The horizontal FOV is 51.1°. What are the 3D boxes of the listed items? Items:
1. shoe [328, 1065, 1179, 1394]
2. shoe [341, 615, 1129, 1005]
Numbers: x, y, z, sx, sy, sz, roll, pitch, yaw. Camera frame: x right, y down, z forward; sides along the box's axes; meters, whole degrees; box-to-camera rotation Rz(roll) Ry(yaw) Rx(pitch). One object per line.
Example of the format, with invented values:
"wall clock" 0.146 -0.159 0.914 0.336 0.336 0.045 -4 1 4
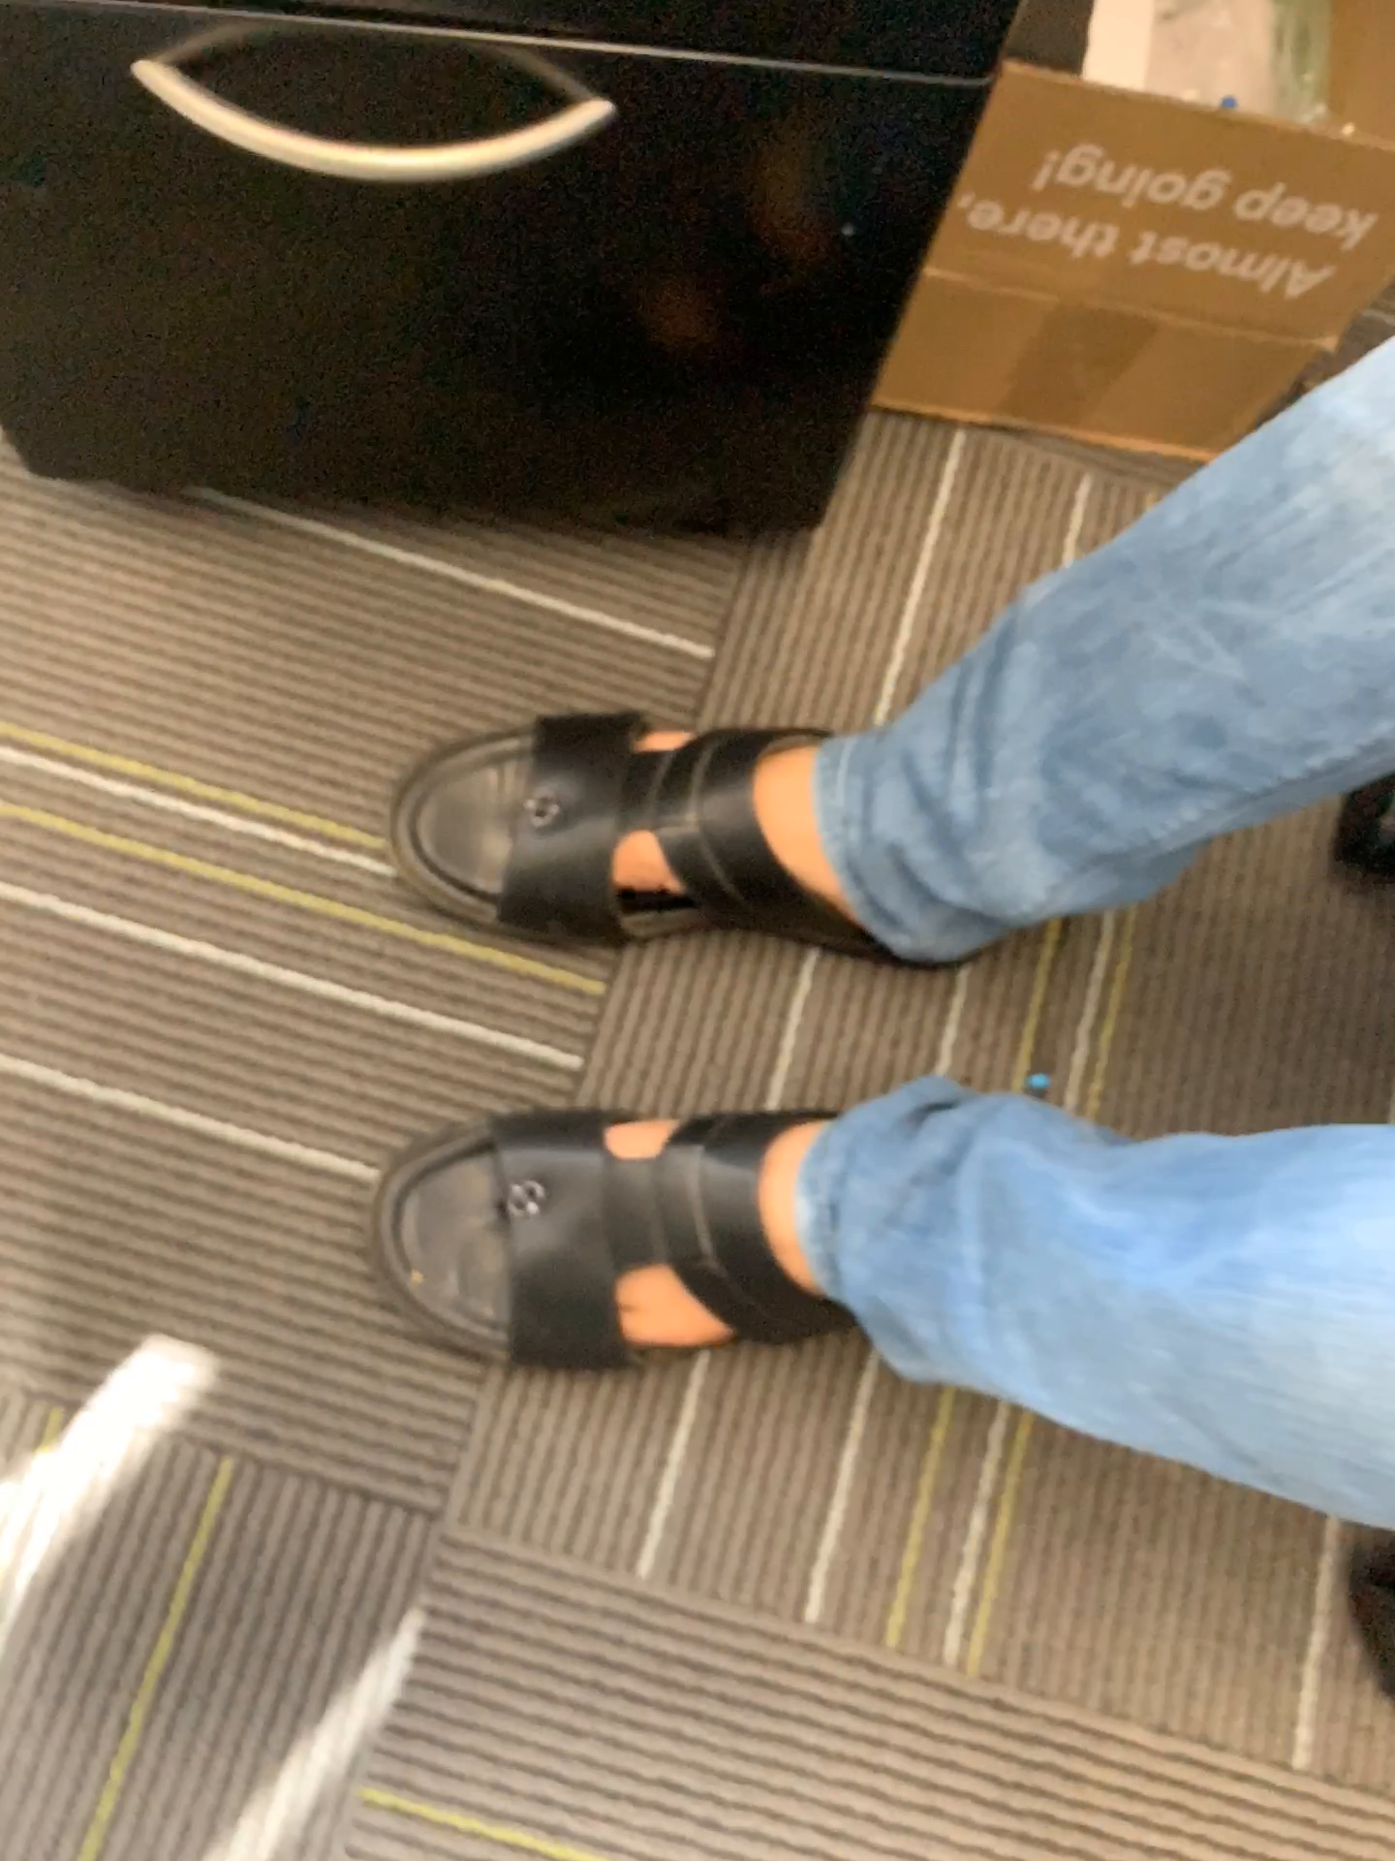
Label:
"shoe" 0.019 0.126 0.607 0.316 0.116 0.118 1 74 -6
"shoe" 0.015 -0.047 0.651 0.316 0.116 0.118 4 74 -6
